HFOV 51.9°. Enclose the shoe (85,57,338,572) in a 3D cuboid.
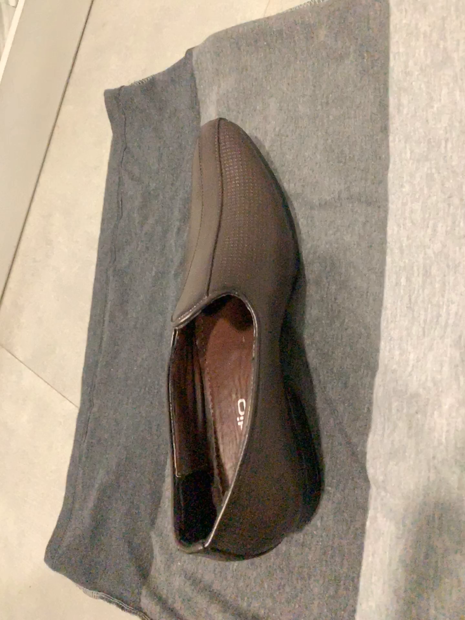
[{"bbox_3d":[-0.020,0.003,0.309,0.100,0.100,0.270,-17,71,35],"label":"shoe"}]
